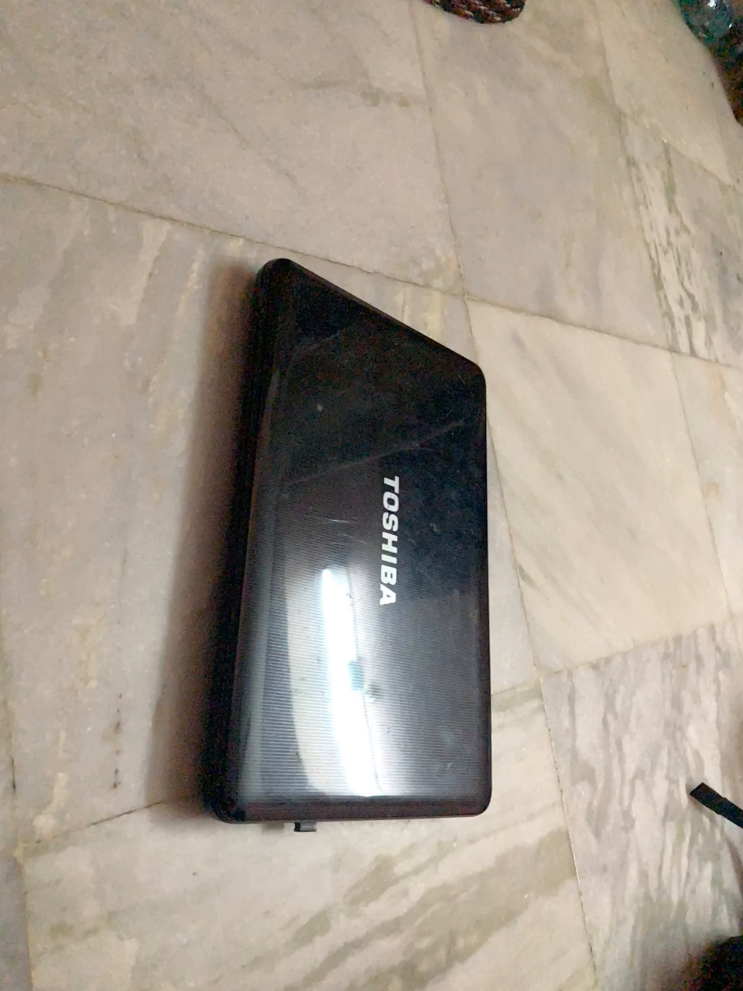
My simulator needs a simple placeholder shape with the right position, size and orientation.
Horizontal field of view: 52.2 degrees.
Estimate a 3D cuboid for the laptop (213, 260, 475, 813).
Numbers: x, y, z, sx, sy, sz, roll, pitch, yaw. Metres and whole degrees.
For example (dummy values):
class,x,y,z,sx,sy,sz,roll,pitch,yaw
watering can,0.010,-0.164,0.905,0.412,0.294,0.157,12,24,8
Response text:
class,x,y,z,sx,sy,sz,roll,pitch,yaw
laptop,0.002,0.033,0.546,0.223,0.003,0.355,19,66,-41
